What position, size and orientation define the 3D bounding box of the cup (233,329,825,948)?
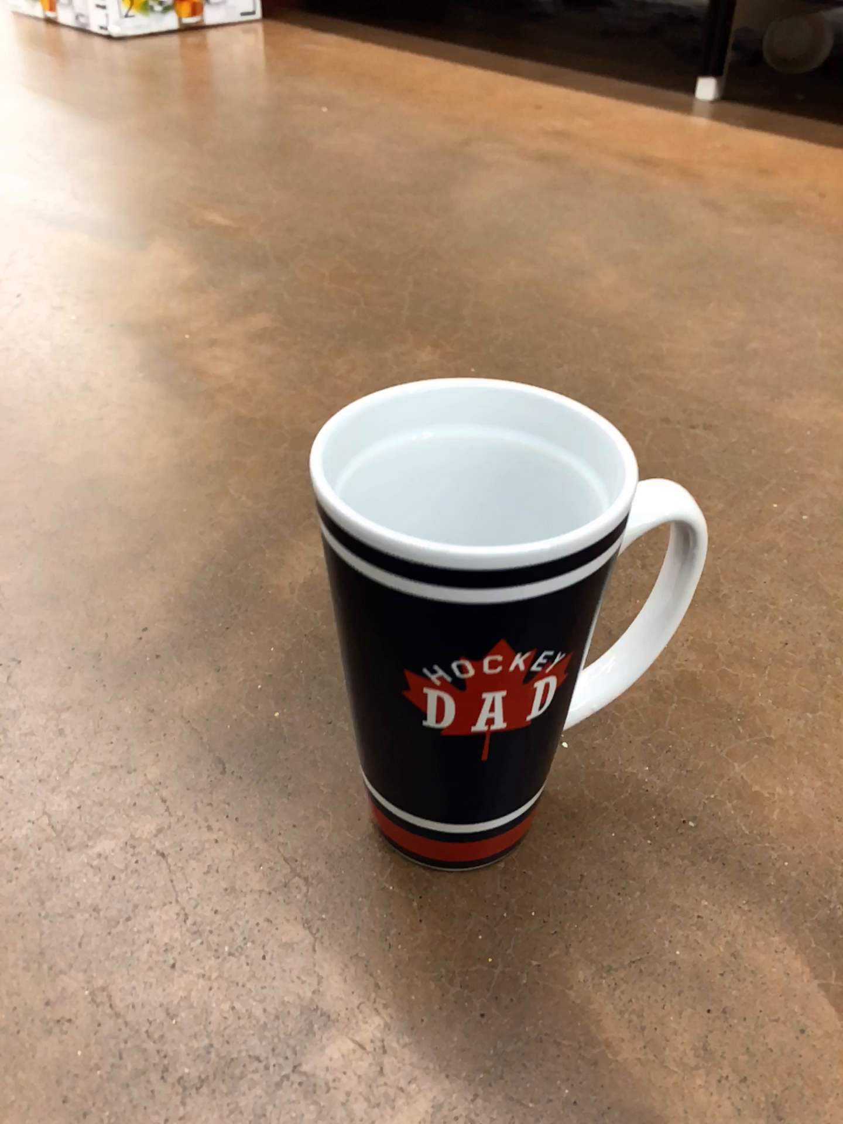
[{"bbox_3d":[0.026,0.018,0.291,0.130,0.130,0.090,-19,43,-23],"label":"cup"}]
